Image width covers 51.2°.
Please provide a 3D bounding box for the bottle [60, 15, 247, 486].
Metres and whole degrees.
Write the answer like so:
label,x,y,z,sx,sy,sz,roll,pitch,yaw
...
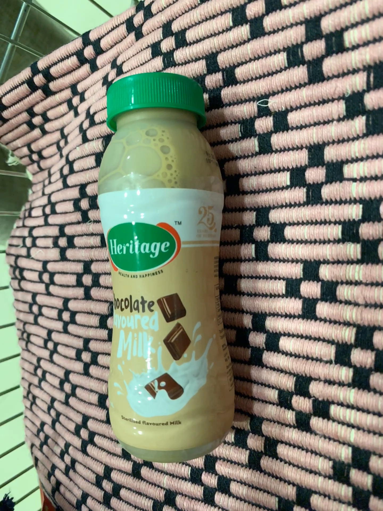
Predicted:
label,x,y,z,sx,sy,sz,roll,pitch,yaw
bottle,-0.011,-0.002,0.152,0.050,0.050,0.140,-1,87,27
